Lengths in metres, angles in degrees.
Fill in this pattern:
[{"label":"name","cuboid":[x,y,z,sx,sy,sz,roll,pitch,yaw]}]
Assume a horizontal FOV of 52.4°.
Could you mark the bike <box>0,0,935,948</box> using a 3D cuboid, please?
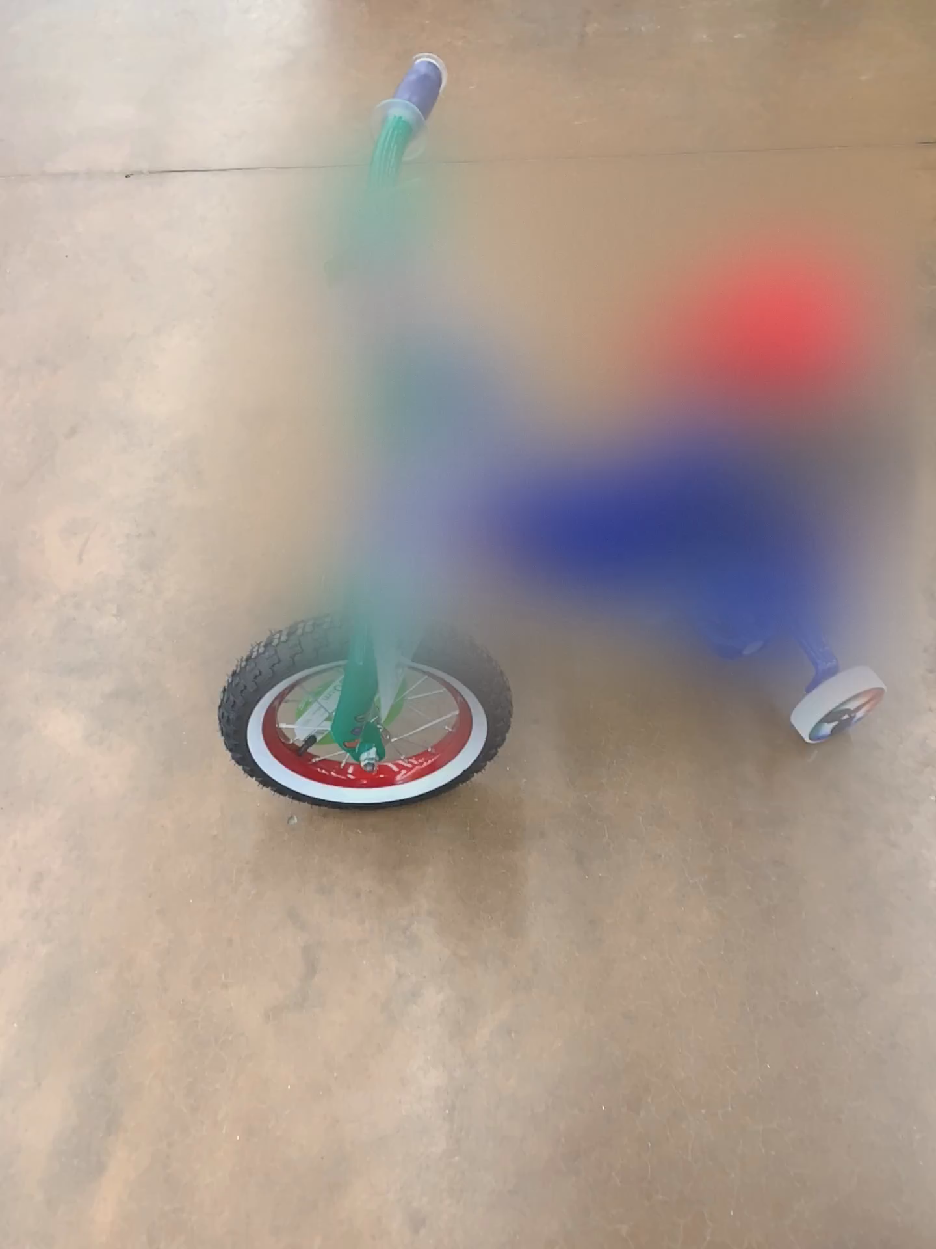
[{"label":"bike","cuboid":[0.101,-0.154,0.888,0.775,0.670,0.461,-20,57,-11]}]
